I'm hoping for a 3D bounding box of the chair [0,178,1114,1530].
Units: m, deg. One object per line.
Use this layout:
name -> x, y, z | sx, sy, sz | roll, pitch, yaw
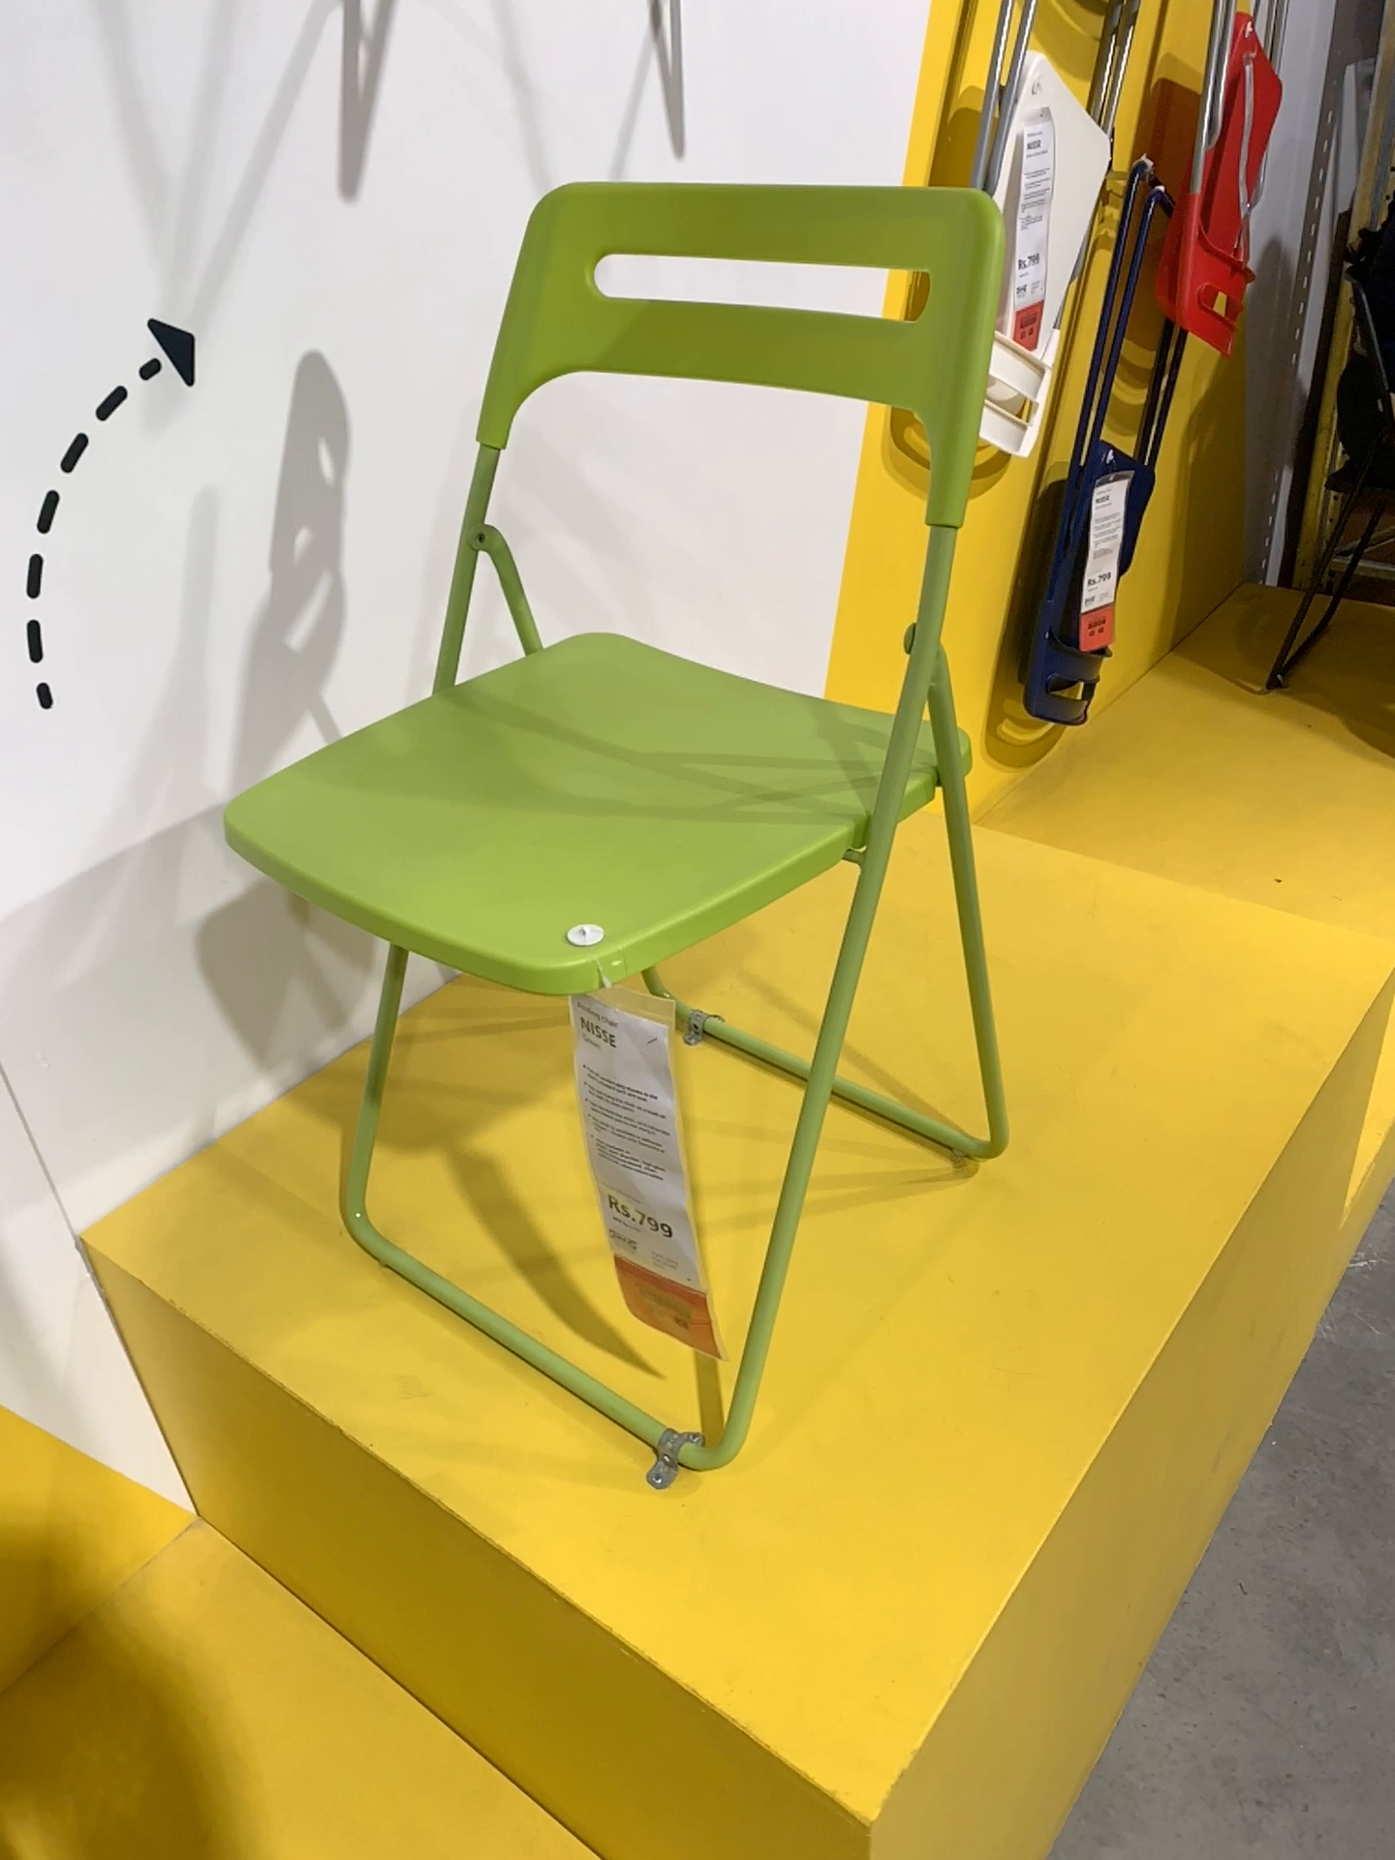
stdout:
chair -> -0.055, -0.087, 0.991 | 0.451, 0.717, 0.461 | 21, 41, 34
